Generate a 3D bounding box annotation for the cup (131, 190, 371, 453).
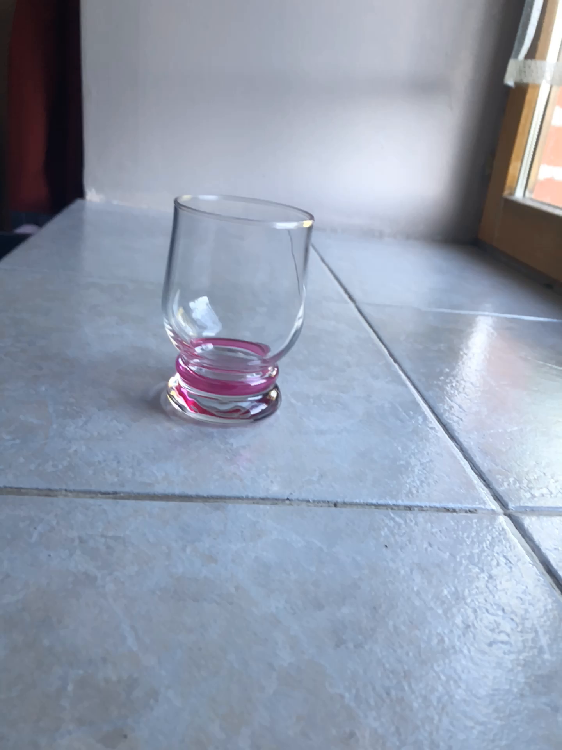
[{"bbox_3d":[-0.019,-0.033,0.313,0.079,0.102,0.079,6,24,-3],"label":"cup"}]
